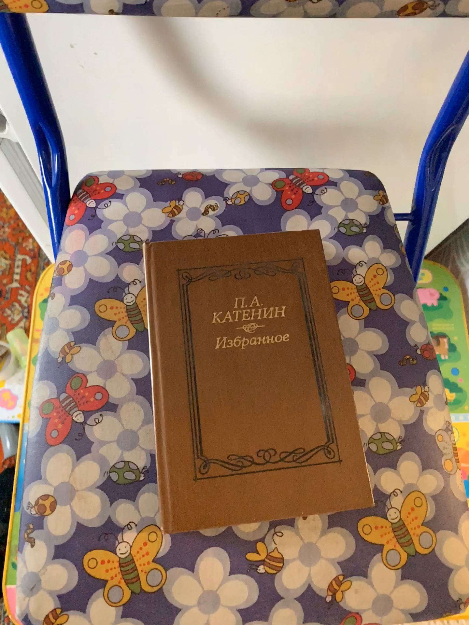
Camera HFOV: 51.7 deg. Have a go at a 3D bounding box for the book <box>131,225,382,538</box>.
[{"bbox_3d":[0.007,0.033,0.291,0.124,0.020,0.171,-6,72,-6],"label":"book"}]
